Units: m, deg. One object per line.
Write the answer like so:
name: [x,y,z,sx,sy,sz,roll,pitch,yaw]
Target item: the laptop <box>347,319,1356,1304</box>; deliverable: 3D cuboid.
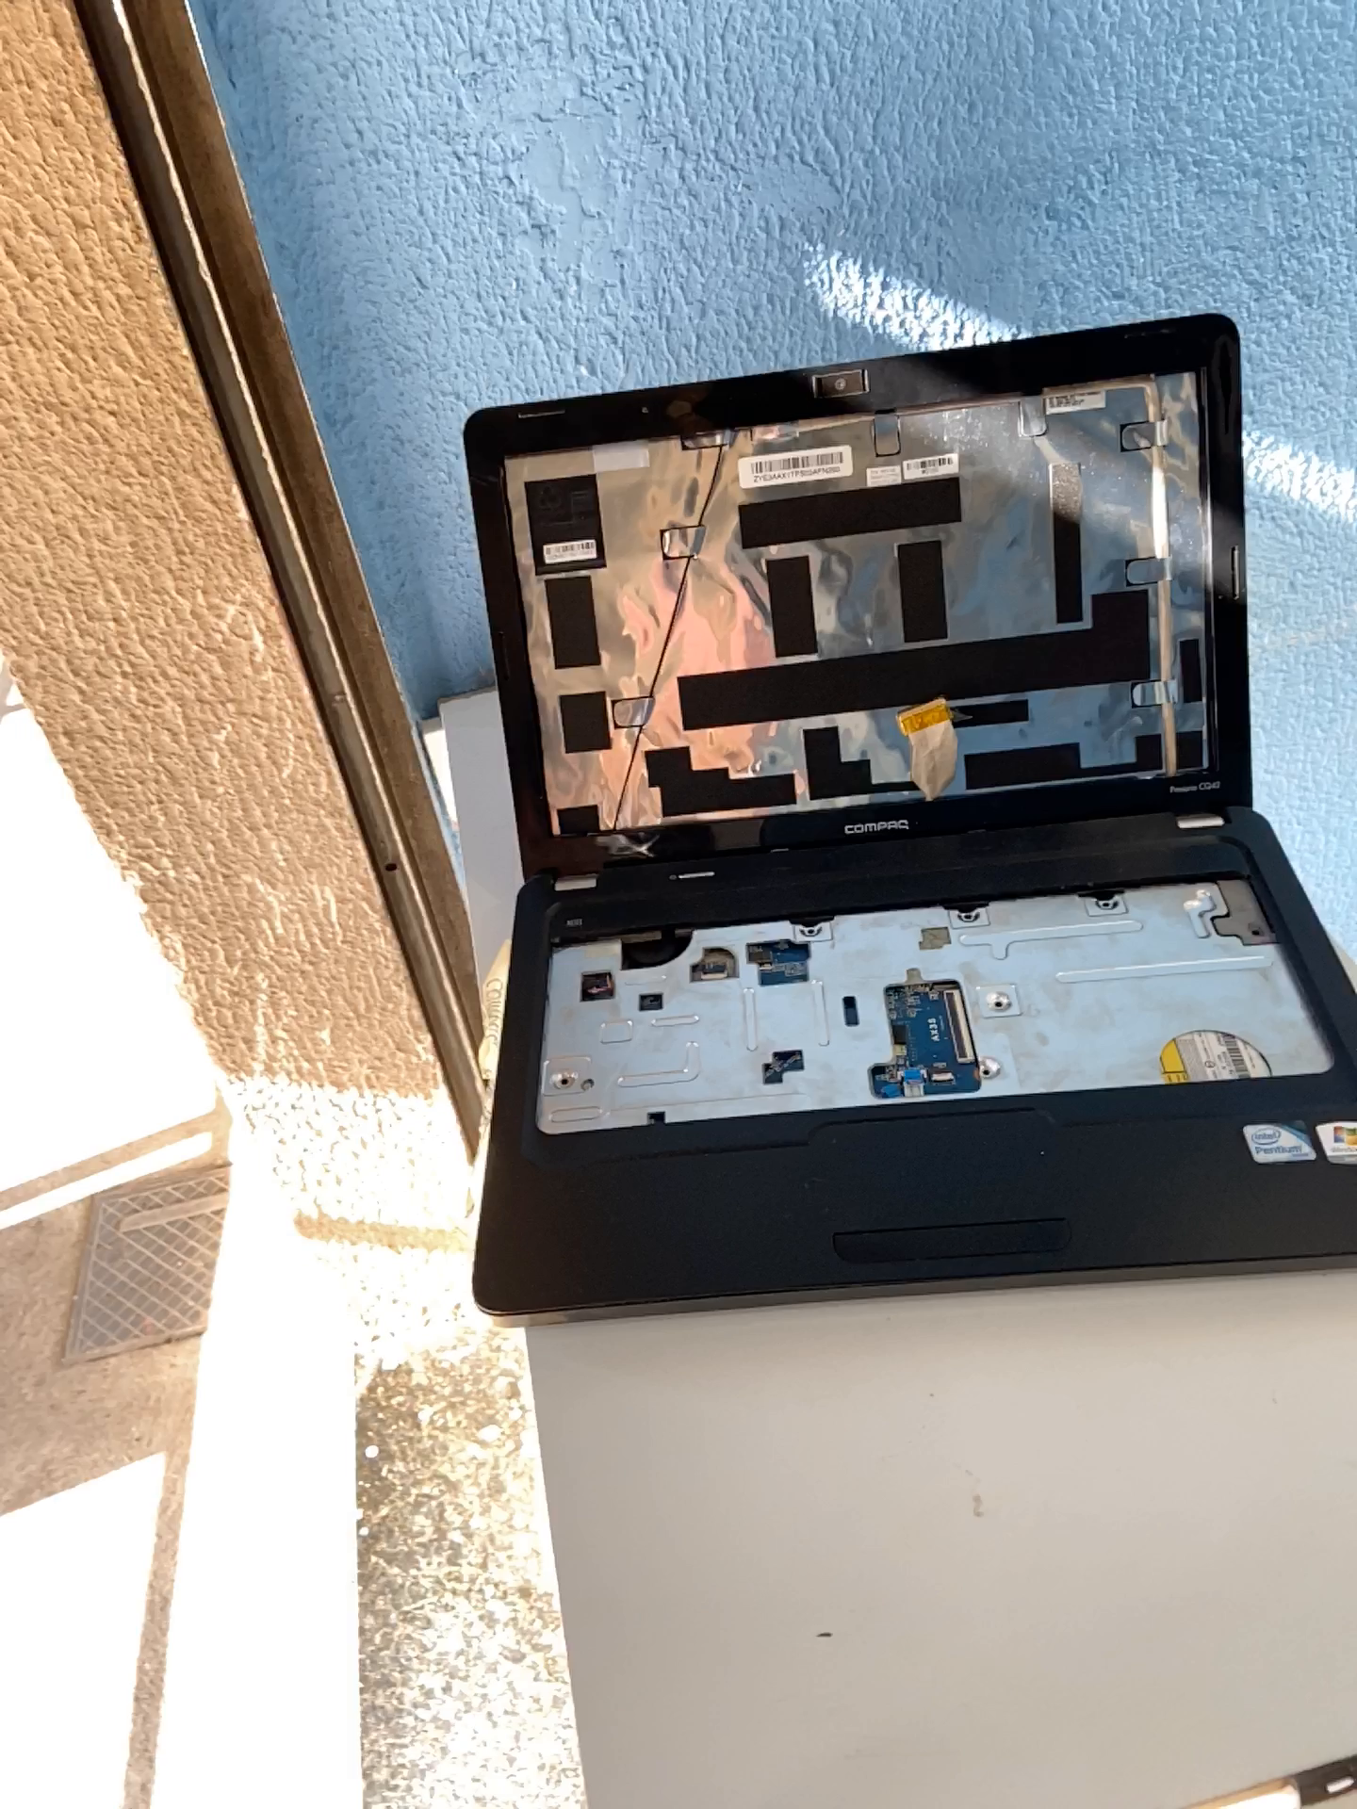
laptop: [0.086,-0.055,0.552,0.331,0.182,0.337,-5,42,5]
